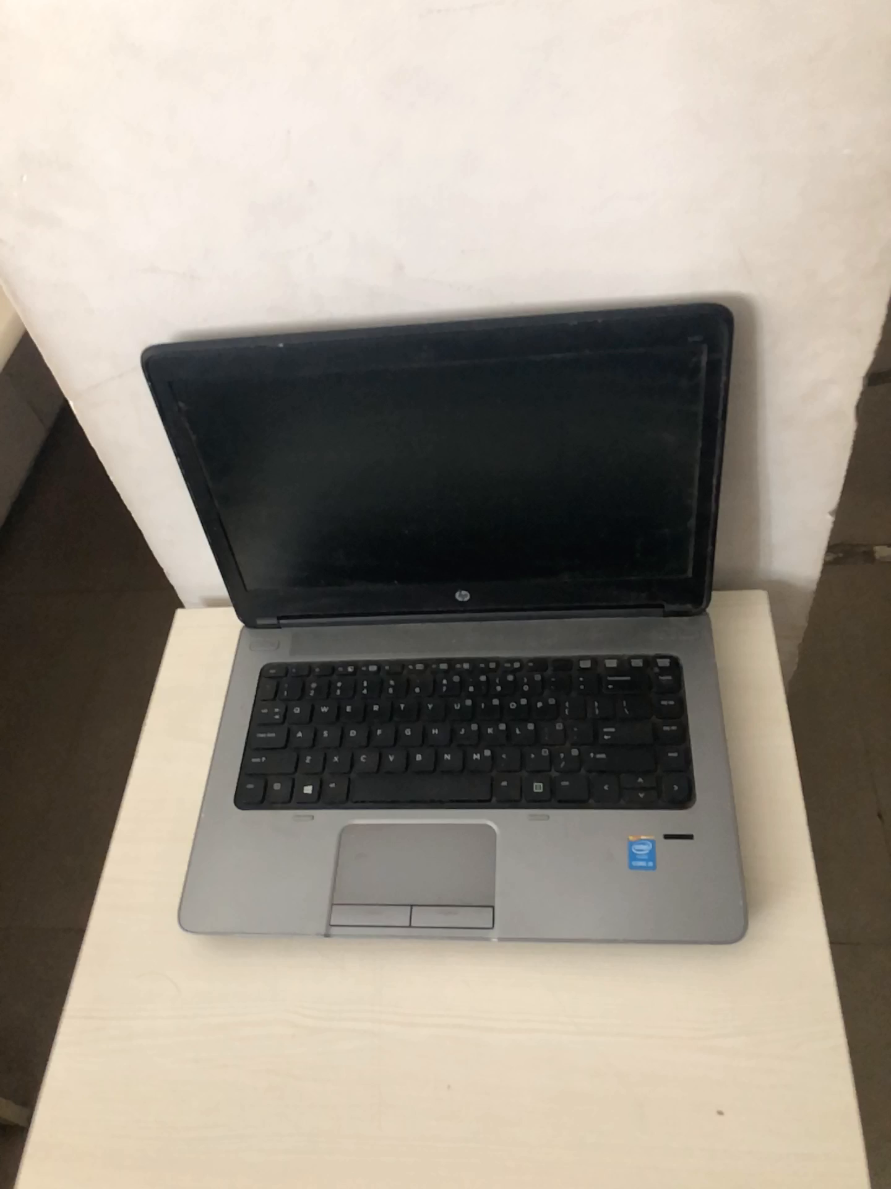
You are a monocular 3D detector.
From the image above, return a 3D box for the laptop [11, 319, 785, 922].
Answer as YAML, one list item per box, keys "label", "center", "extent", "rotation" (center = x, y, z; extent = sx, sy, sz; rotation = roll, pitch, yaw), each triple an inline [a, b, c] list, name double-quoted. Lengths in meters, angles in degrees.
- label: "laptop"
  center: [-0.002, 0.021, 0.531]
  extent: [0.304, 0.209, 0.238]
  rotation: [-1, 52, 8]
